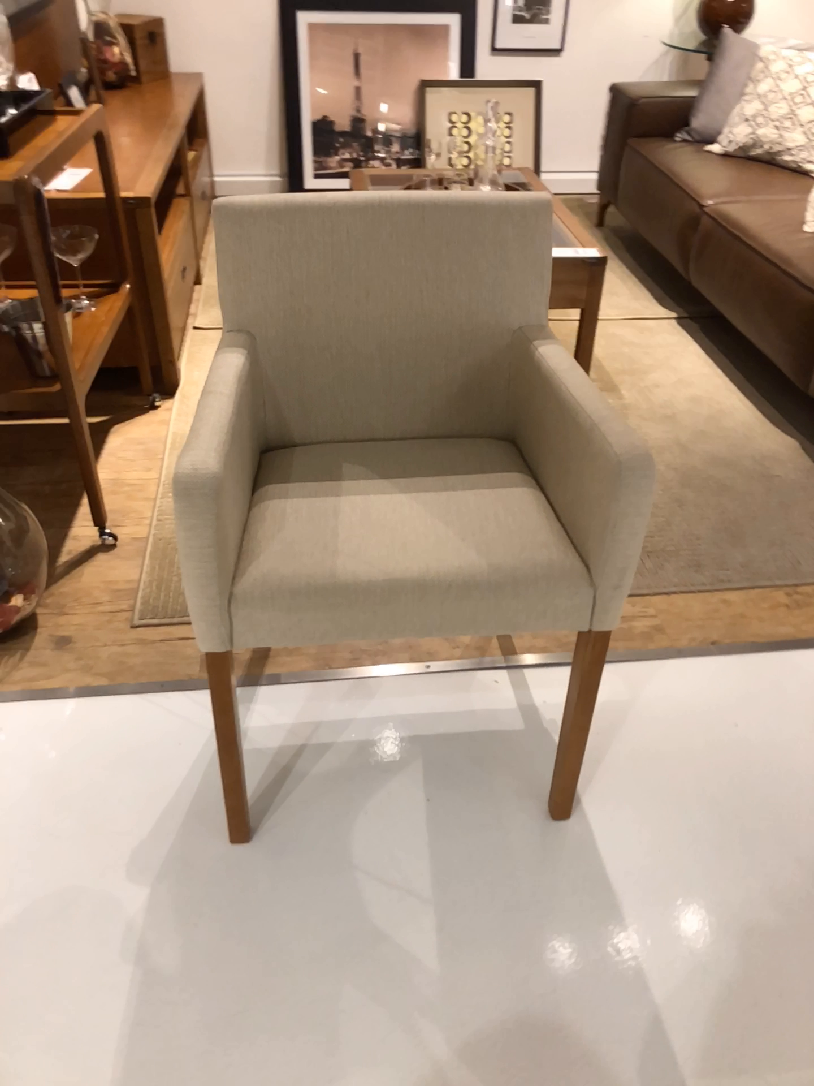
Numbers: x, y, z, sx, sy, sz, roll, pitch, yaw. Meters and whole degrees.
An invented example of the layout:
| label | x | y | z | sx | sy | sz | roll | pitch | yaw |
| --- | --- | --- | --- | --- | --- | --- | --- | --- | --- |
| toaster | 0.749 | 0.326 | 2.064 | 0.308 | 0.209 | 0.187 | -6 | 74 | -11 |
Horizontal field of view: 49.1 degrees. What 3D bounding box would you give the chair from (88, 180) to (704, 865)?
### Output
| label | x | y | z | sx | sy | sz | roll | pitch | yaw |
| --- | --- | --- | --- | --- | --- | --- | --- | --- | --- |
| chair | -0.040 | -0.049 | 1.347 | 0.600 | 0.794 | 0.625 | -2 | 36 | -5 |
